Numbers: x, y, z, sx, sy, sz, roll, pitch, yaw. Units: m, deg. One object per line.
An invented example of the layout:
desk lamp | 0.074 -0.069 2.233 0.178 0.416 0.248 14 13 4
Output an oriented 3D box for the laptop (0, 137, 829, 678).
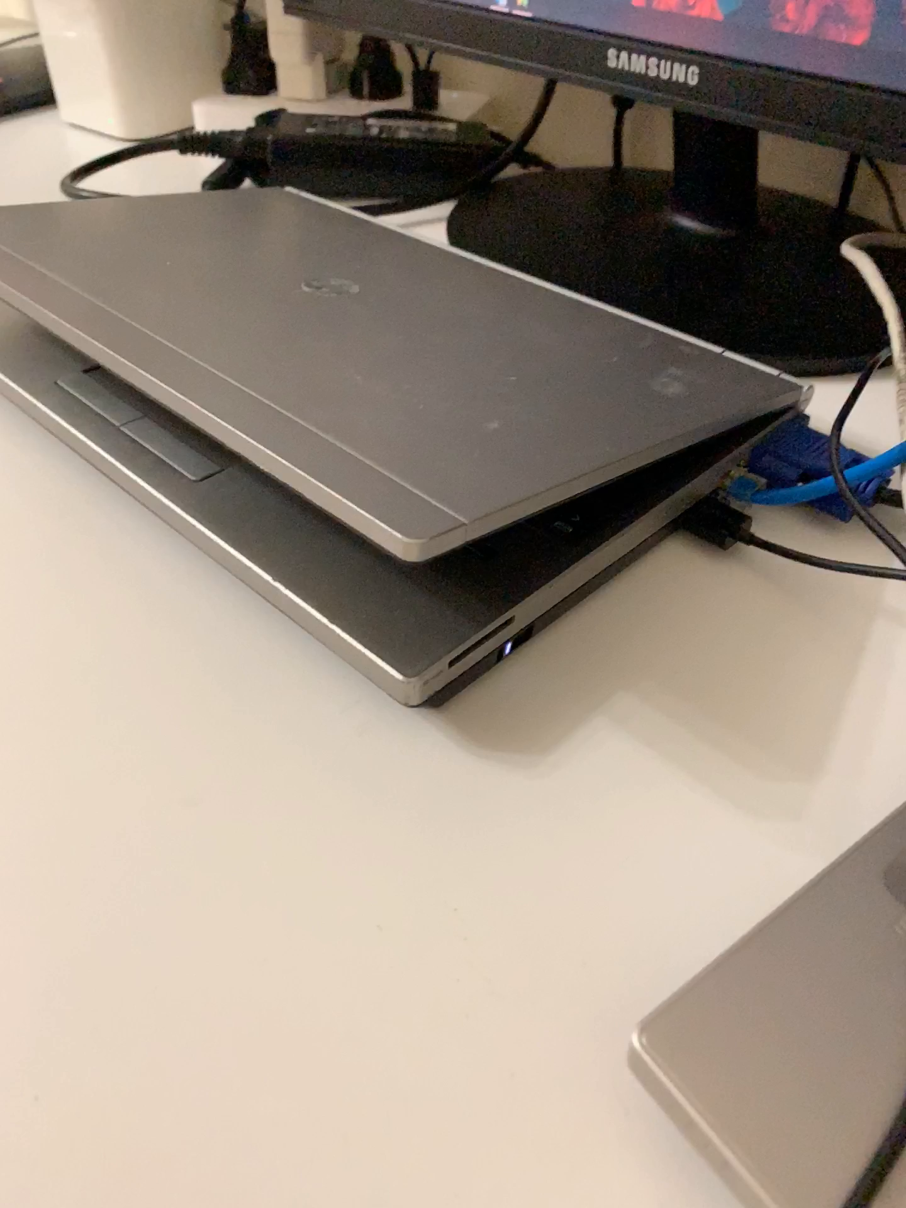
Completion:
laptop | -0.045 -0.107 0.348 0.183 0.029 0.294 -34 50 -30
